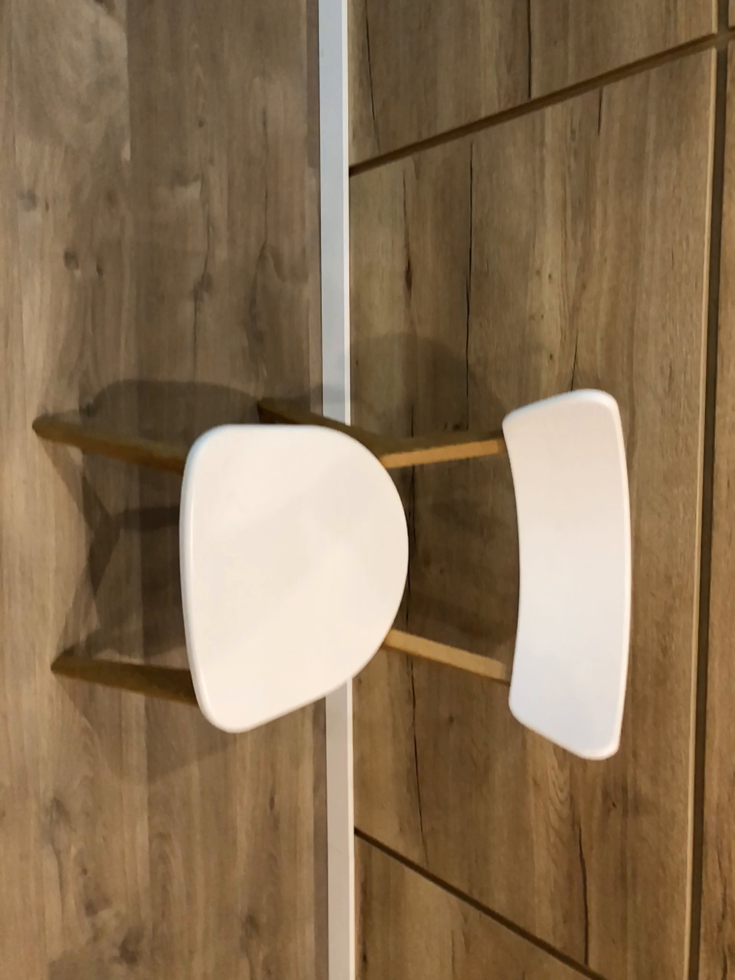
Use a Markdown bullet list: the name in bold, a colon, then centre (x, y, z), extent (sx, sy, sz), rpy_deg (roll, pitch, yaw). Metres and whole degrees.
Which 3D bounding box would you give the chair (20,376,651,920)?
- **chair**: centre (-0.090, 0.105, 1.221), extent (0.533, 0.826, 0.500), rpy_deg (-10, 100, -40)
